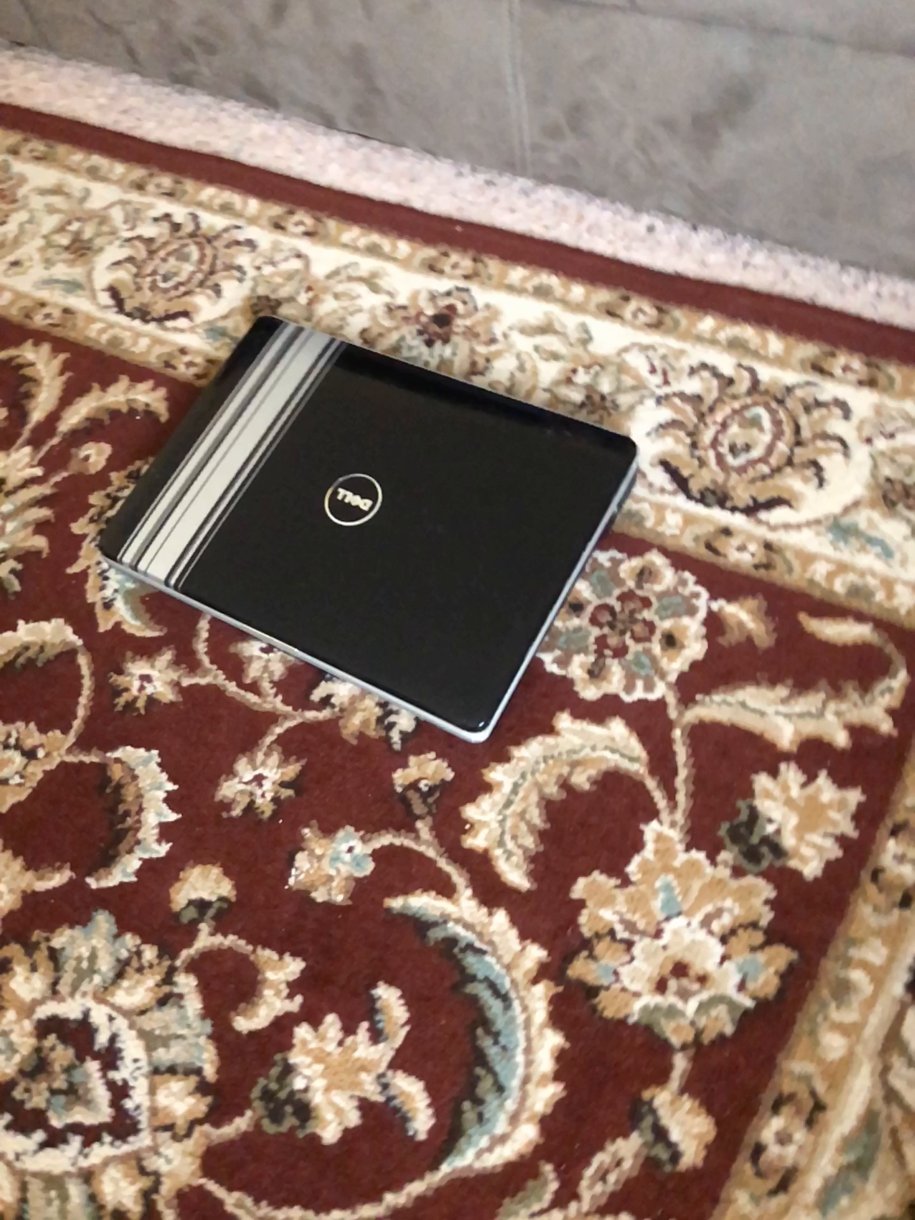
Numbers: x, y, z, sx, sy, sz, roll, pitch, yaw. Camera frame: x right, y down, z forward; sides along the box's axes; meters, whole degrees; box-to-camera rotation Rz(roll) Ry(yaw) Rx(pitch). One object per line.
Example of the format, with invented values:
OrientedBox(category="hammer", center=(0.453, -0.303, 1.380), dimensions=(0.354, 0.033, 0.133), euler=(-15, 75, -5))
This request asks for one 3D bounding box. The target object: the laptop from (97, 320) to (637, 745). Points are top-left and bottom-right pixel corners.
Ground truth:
OrientedBox(category="laptop", center=(-0.076, -0.079, 0.769), dimensions=(0.351, 0.015, 0.242), euler=(24, 73, 22))
